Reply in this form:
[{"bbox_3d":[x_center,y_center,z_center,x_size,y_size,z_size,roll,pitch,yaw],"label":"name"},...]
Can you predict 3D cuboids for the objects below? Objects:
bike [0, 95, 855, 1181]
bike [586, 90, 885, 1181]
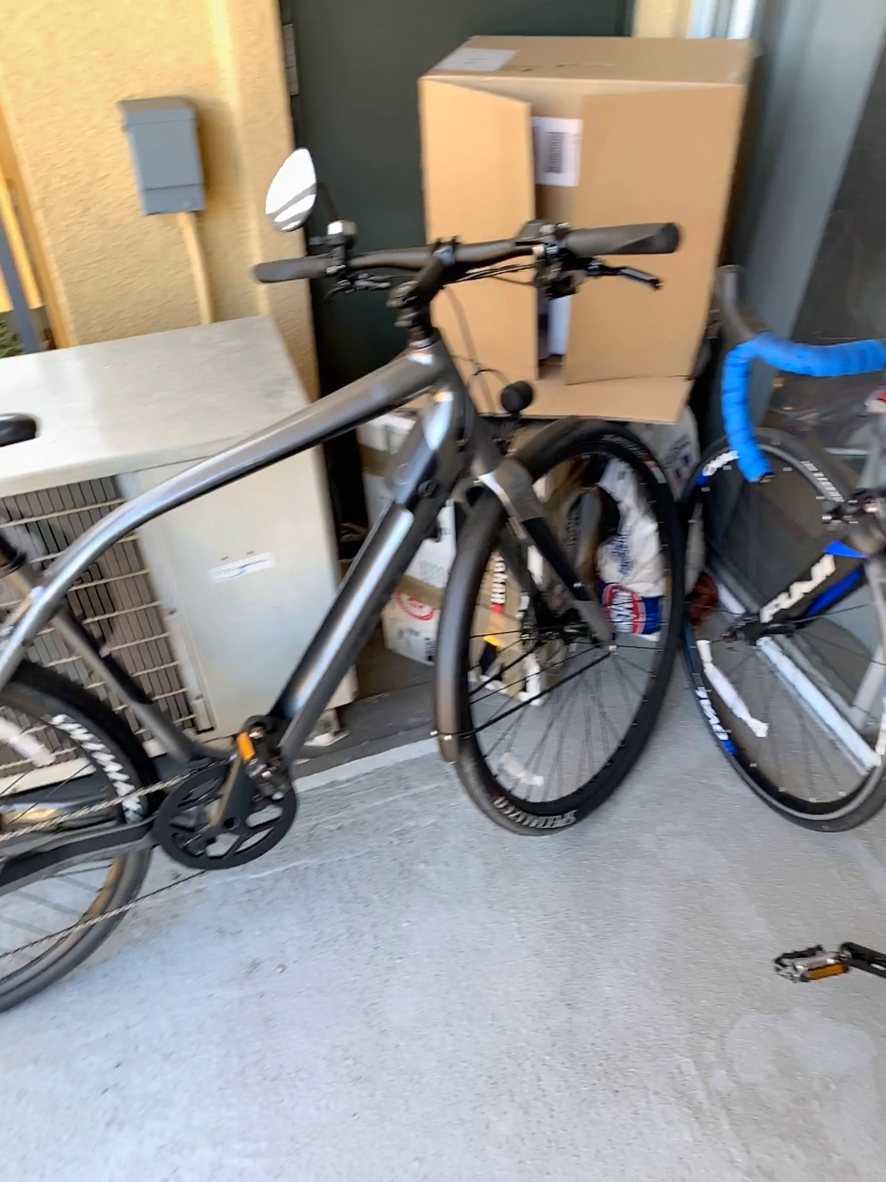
[{"bbox_3d":[-0.332,-0.033,1.294,1.583,0.971,0.625,-19,44,-22],"label":"bike"},{"bbox_3d":[0.635,0.247,0.979,0.362,0.932,1.509,-10,46,-11],"label":"bike"}]
